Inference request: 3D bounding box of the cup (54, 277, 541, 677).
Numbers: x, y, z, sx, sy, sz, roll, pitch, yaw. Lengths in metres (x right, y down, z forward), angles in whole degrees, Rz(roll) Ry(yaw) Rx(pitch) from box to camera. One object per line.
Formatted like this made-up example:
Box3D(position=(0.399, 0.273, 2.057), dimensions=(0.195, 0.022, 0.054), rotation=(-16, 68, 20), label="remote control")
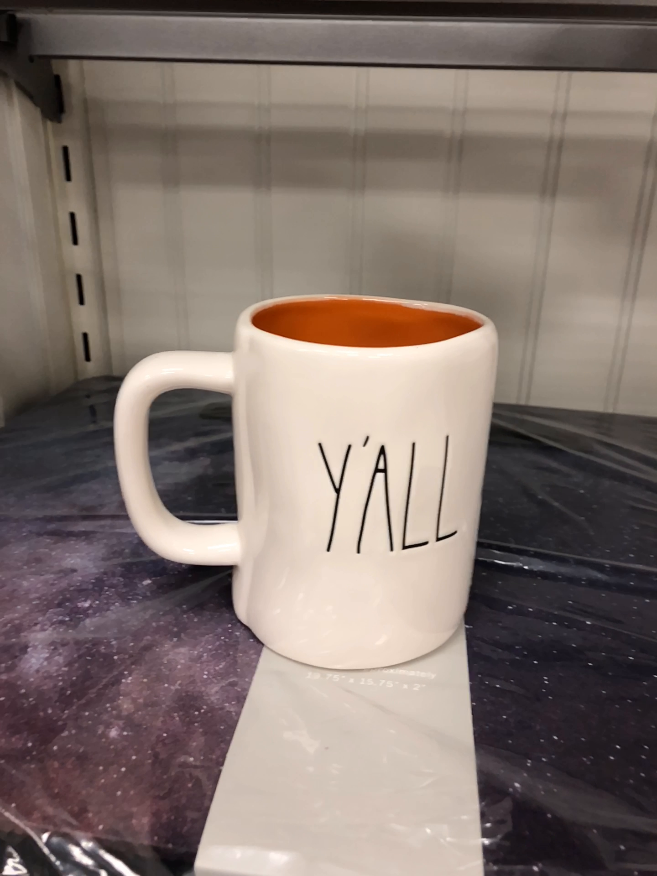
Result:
Box3D(position=(-0.011, 0.009, 0.274), dimensions=(0.140, 0.119, 0.091), rotation=(0, 23, -3), label="cup")
